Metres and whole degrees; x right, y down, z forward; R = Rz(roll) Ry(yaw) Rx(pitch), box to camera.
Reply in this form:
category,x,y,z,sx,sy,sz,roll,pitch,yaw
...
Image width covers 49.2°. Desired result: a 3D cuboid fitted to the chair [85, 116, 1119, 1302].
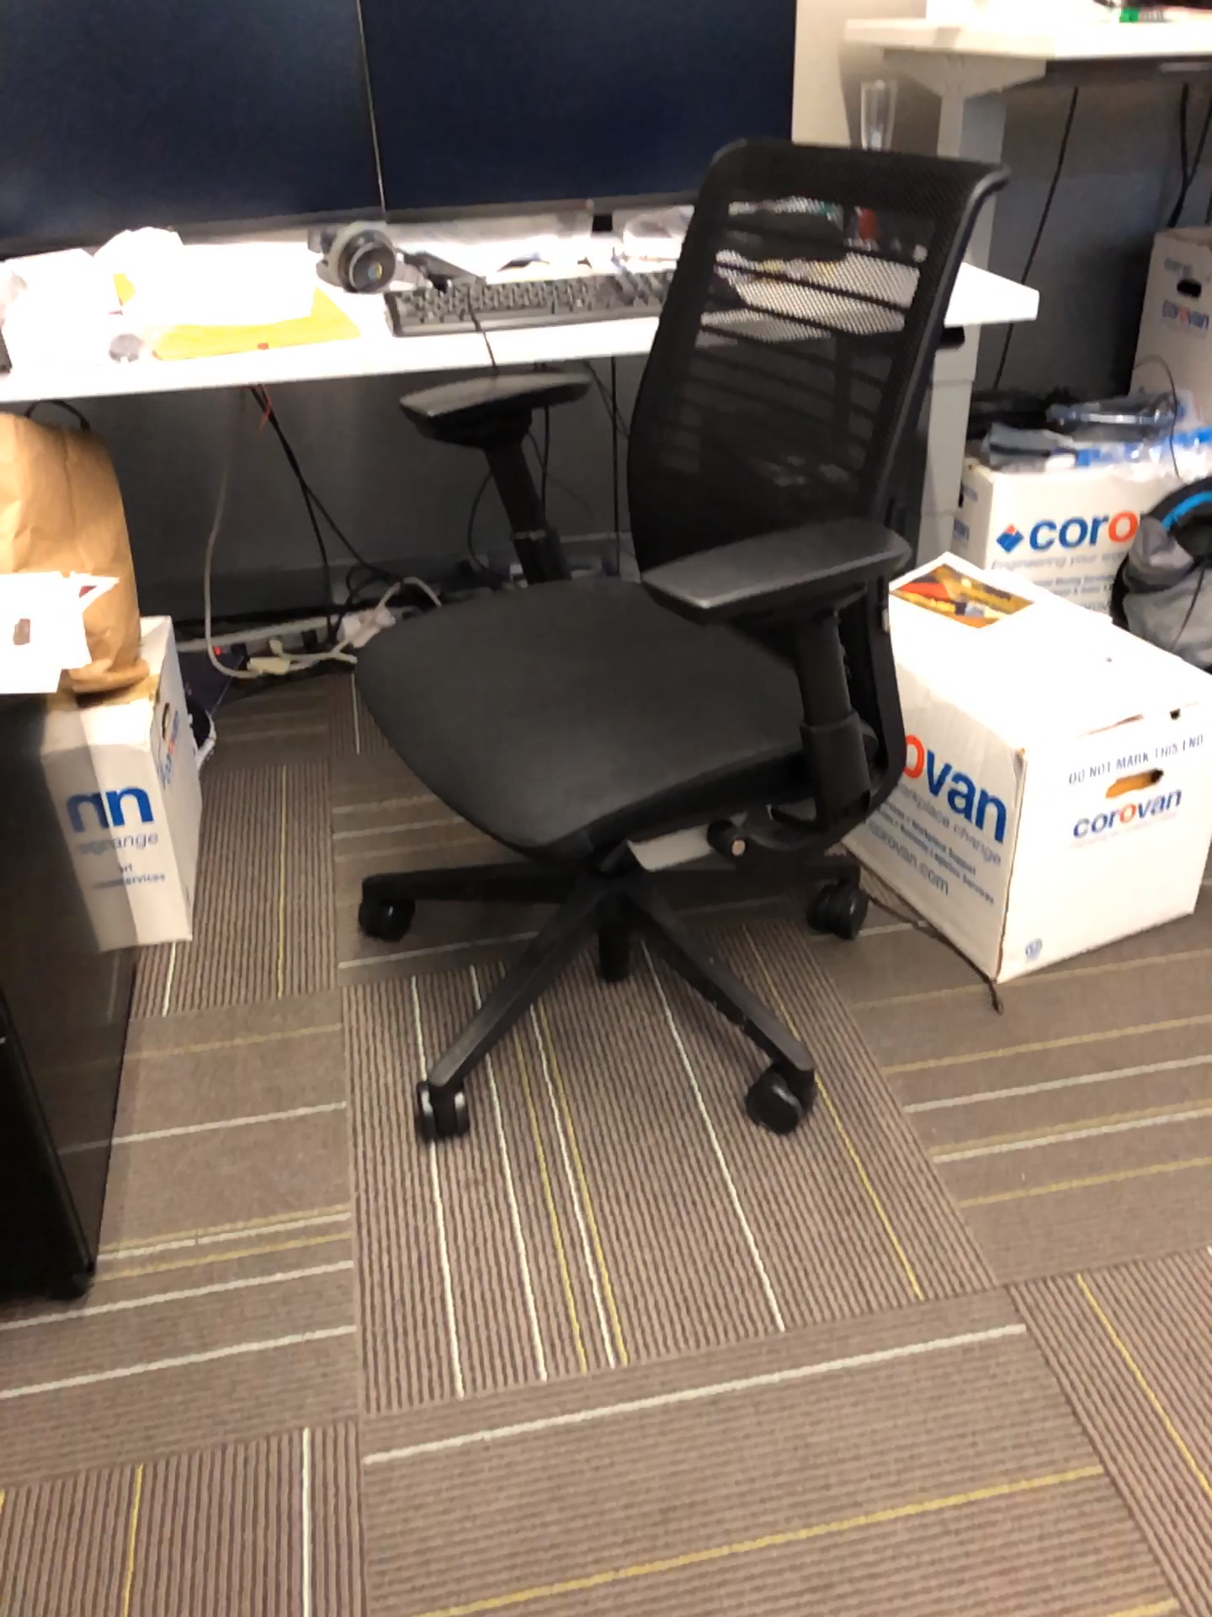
category,x,y,z,sx,sy,sz,roll,pitch,yaw
chair,-0.045,-0.195,1.530,0.701,0.994,0.783,-18,35,-24
